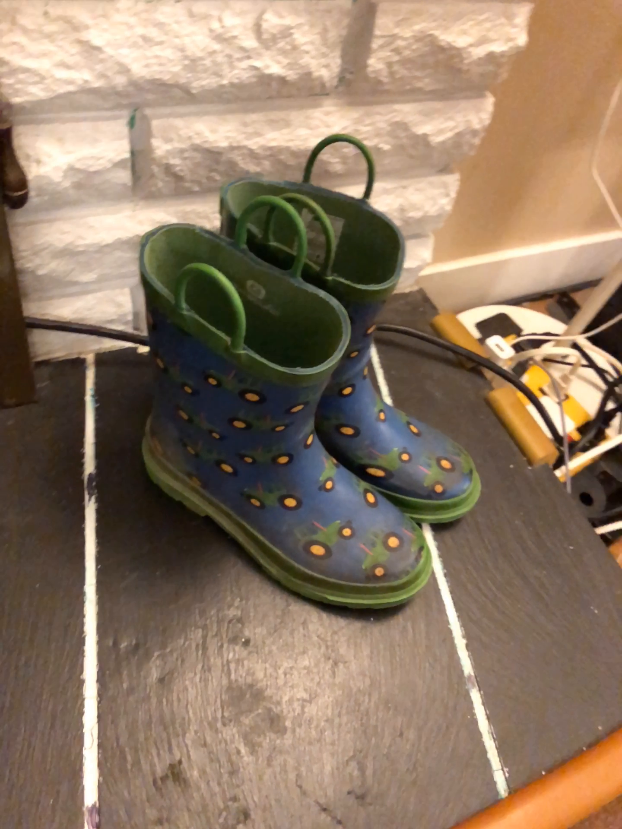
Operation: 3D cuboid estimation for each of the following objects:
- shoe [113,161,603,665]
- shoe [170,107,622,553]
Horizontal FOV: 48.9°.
[{"bbox_3d":[0.004,0.016,0.433,0.230,0.239,0.100,31,53,9],"label":"shoe"},{"bbox_3d":[0.040,-0.040,0.471,0.240,0.229,0.101,22,52,2],"label":"shoe"}]
